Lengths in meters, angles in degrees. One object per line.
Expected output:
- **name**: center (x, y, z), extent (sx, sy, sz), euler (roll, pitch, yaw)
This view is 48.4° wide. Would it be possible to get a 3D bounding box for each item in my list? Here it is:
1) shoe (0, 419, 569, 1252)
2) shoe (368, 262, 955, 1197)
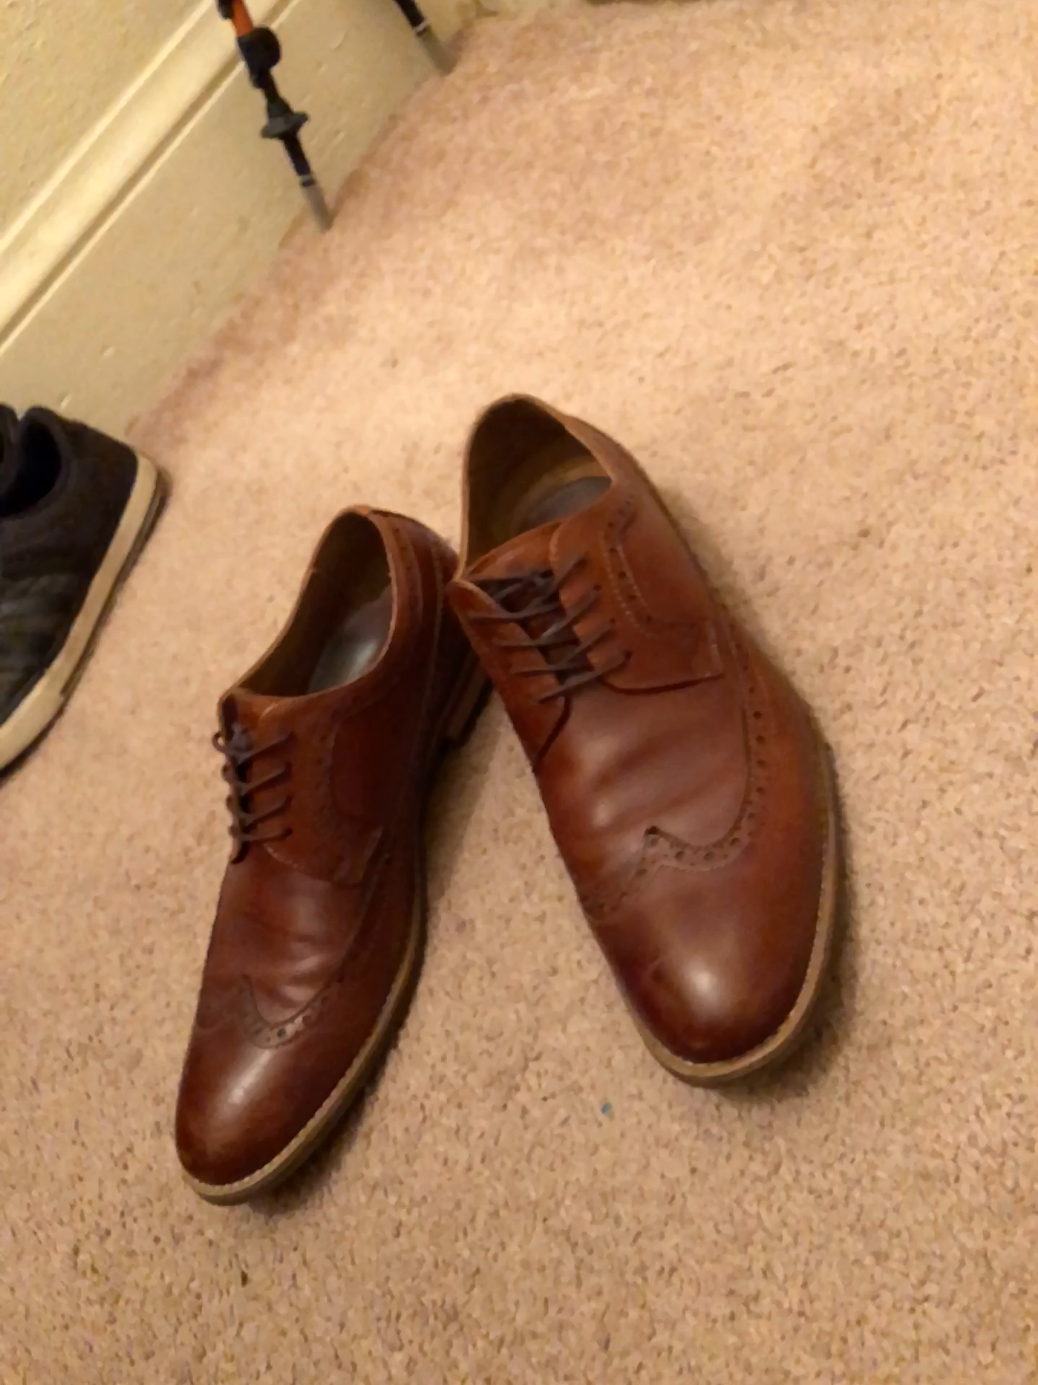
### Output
- **shoe**: center (-0.097, 0.050, 0.496), extent (0.115, 0.114, 0.311), euler (0, 61, 37)
- **shoe**: center (0.033, -0.002, 0.426), extent (0.115, 0.114, 0.311), euler (-27, 48, 20)
